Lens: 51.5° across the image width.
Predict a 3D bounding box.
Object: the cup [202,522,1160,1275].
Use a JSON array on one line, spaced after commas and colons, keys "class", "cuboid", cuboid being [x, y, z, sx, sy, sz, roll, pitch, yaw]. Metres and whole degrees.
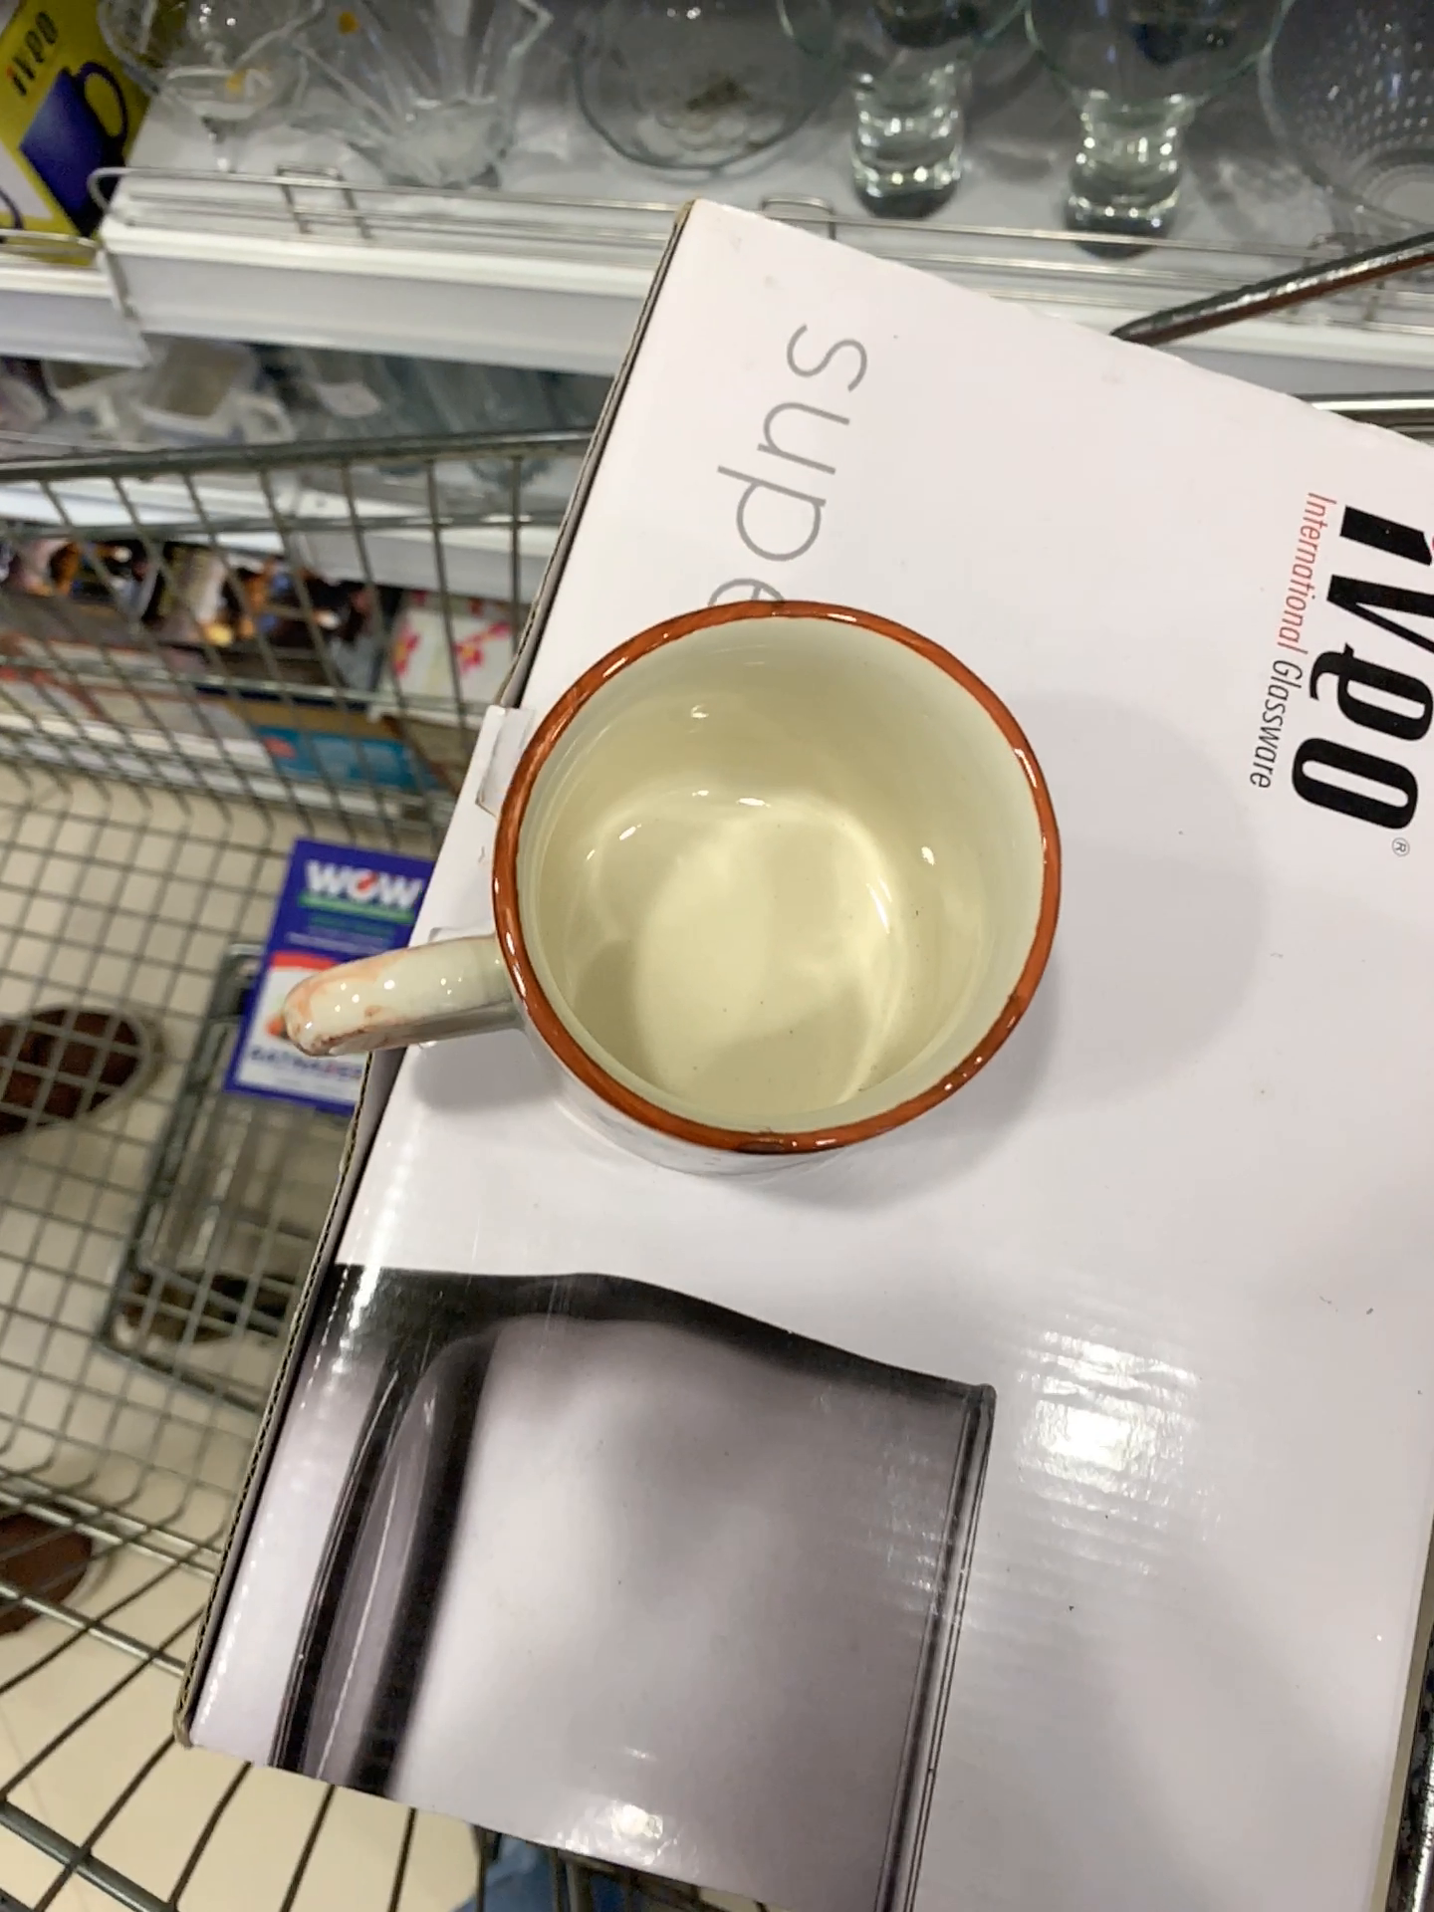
[{"class": "cup", "cuboid": [-0.008, -0.004, 0.206, 0.100, 0.070, 0.070, -9, 73, -8]}]
